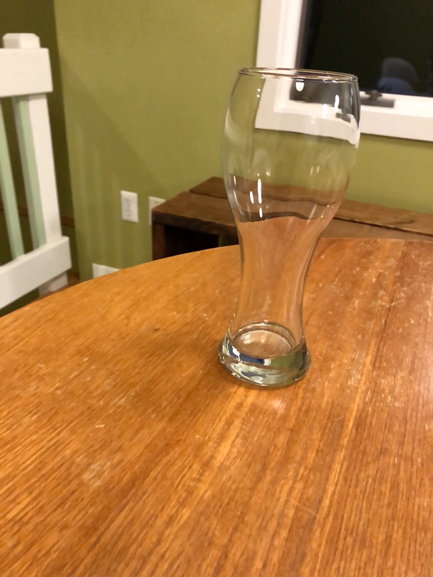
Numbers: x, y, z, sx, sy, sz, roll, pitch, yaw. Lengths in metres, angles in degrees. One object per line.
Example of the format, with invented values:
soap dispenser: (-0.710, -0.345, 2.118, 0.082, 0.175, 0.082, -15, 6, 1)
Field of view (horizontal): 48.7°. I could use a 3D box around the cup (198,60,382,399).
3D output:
cup: (0.044, -0.041, 0.352, 0.093, 0.222, 0.088, 2, 27, -1)
